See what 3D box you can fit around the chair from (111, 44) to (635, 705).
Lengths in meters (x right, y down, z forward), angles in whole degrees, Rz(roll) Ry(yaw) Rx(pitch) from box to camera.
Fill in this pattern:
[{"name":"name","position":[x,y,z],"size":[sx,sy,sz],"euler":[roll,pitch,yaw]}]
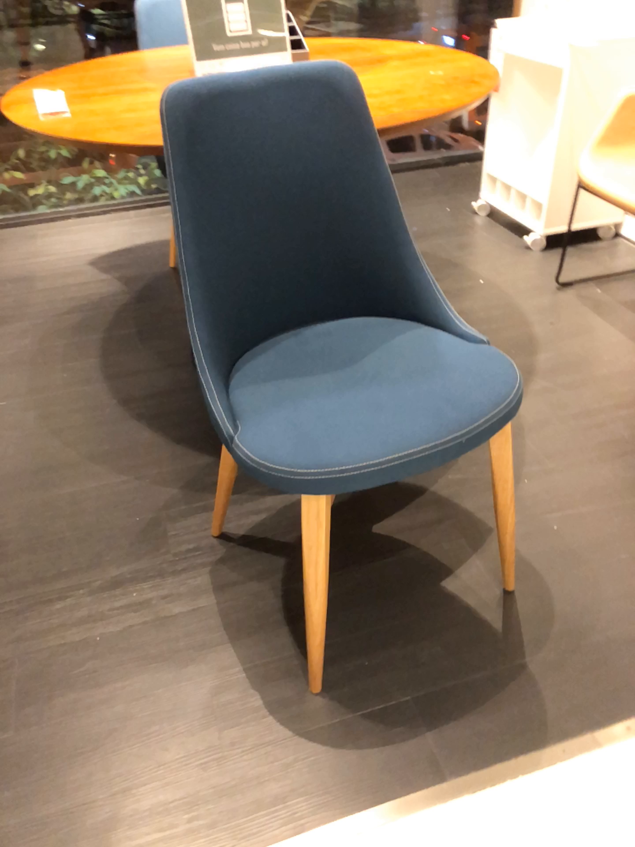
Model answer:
[{"name":"chair","position":[0.070,-0.104,1.182],"size":[0.521,0.853,0.543],"euler":[-20,39,-22]}]
